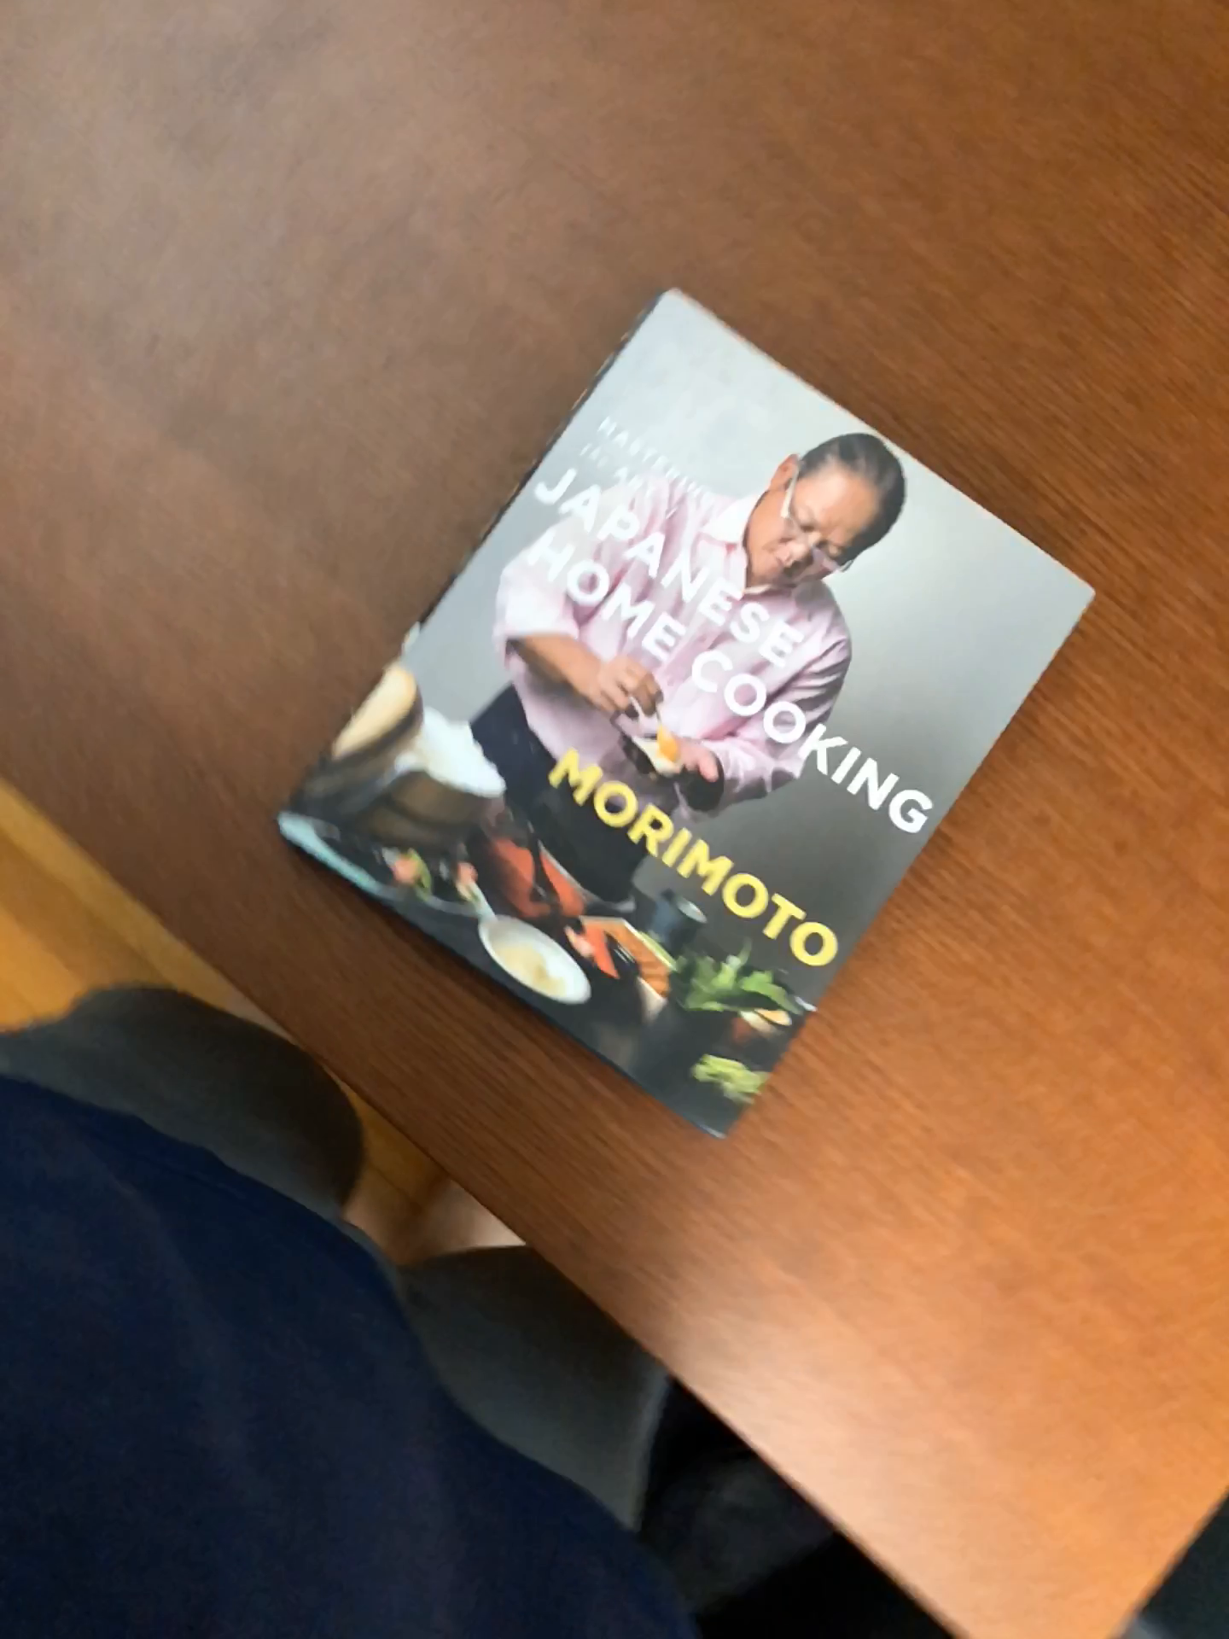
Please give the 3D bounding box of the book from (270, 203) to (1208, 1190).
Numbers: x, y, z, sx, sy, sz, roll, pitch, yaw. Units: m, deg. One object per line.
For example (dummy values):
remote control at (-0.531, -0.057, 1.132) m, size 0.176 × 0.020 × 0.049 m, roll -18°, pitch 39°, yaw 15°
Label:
book at (0.050, -0.050, 0.518) m, size 0.220 × 0.030 × 0.300 m, roll 35°, pitch 84°, yaw 0°
